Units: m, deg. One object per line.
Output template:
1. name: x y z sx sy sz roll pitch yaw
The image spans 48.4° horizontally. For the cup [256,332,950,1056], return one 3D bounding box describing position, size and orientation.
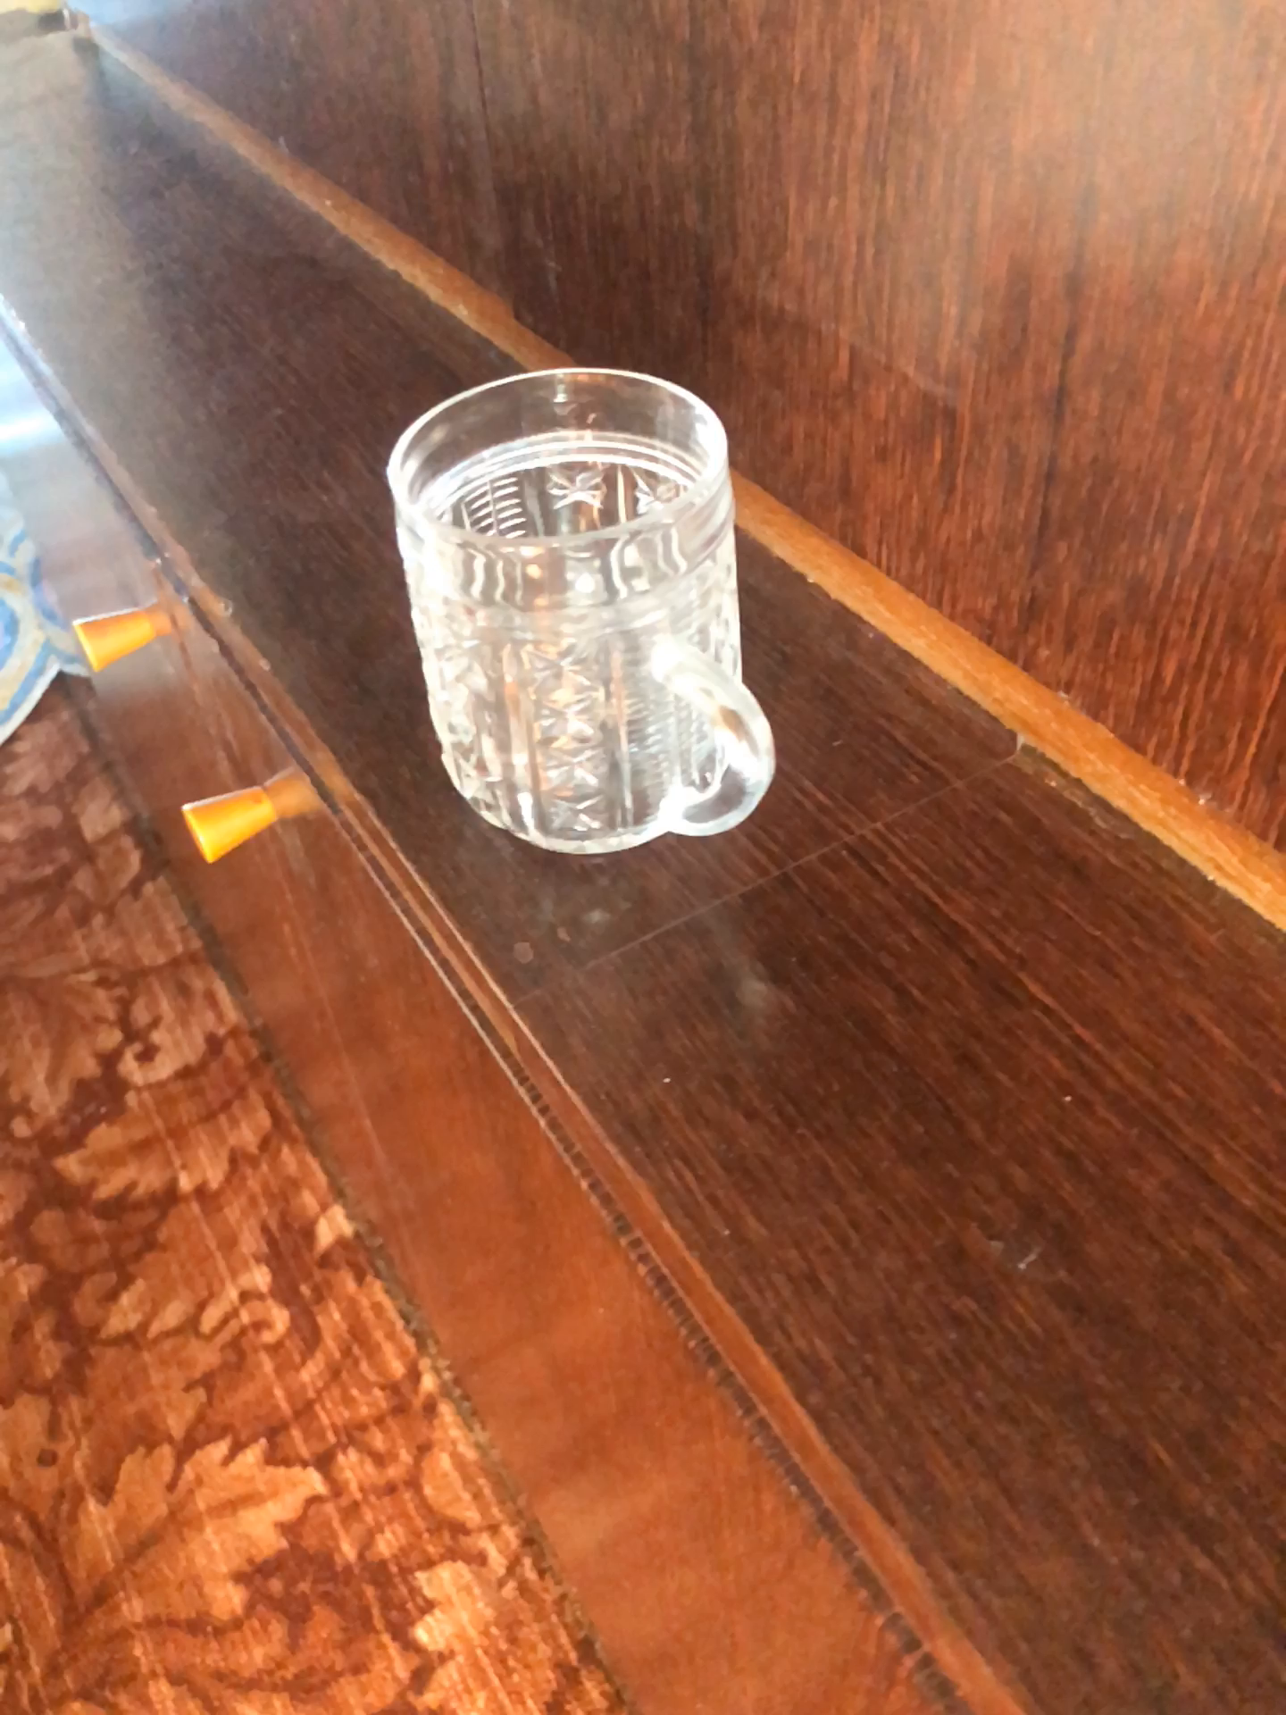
1. cup: -0.007 -0.035 0.273 0.070 0.080 0.100 -35 53 -27
